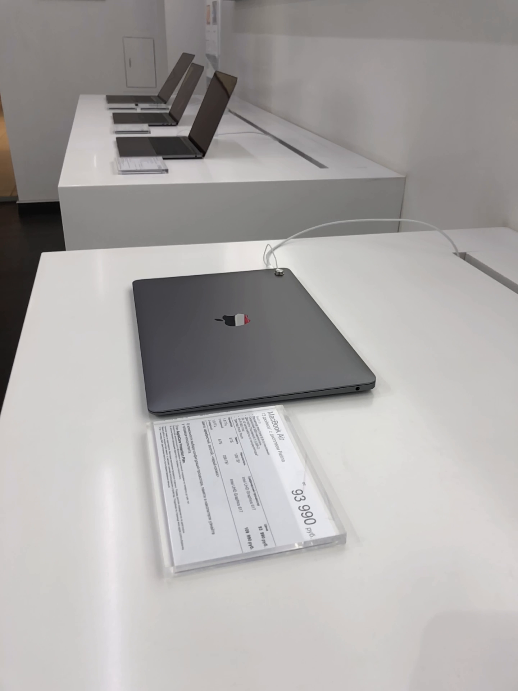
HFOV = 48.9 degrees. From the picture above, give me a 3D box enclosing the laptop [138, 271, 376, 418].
[{"bbox_3d":[-0.024,-0.020,0.629,0.204,0.006,0.293,-7,29,-11],"label":"laptop"}]
